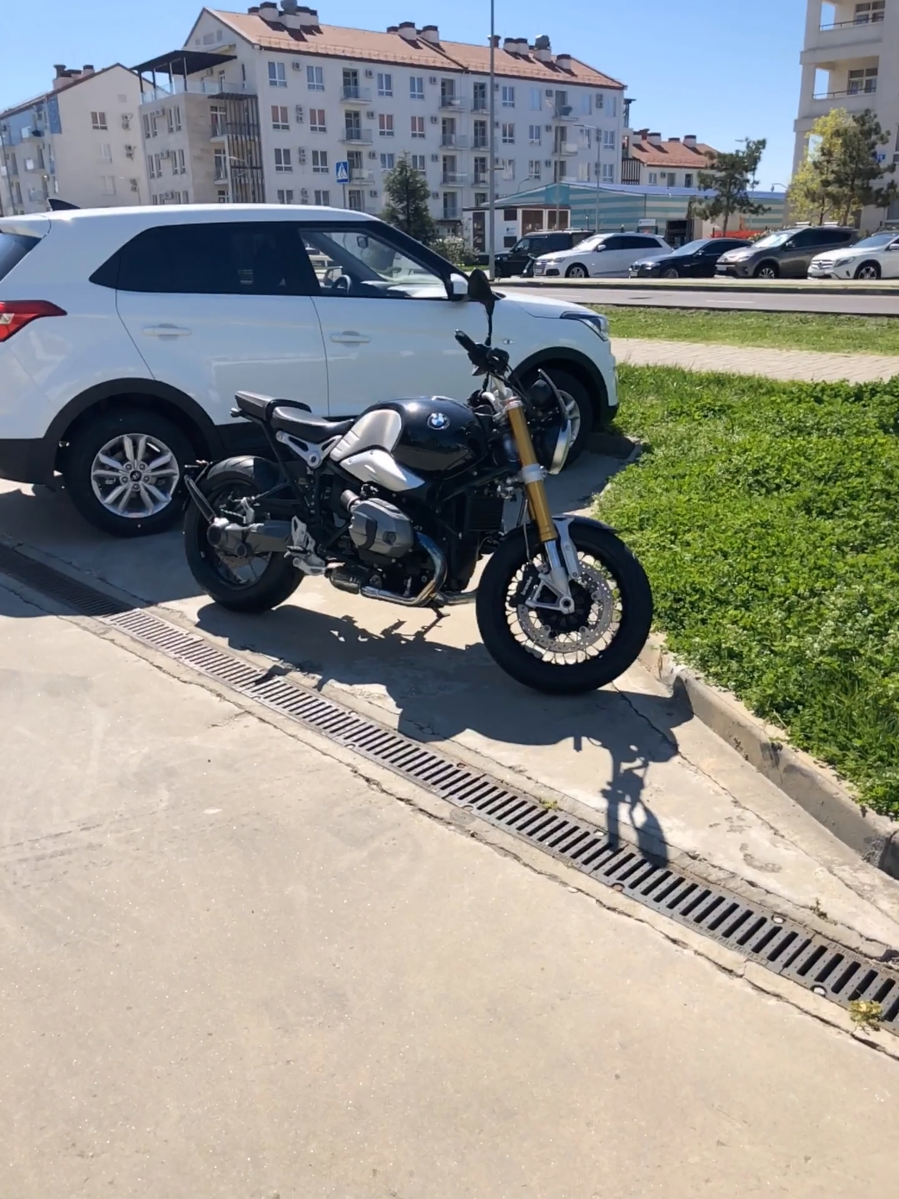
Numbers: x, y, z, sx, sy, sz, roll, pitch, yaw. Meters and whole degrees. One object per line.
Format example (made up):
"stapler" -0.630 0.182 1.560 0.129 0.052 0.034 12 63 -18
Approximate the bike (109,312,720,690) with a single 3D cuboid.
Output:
"bike" -0.146 -0.443 3.407 1.834 1.013 0.779 9 20 28
